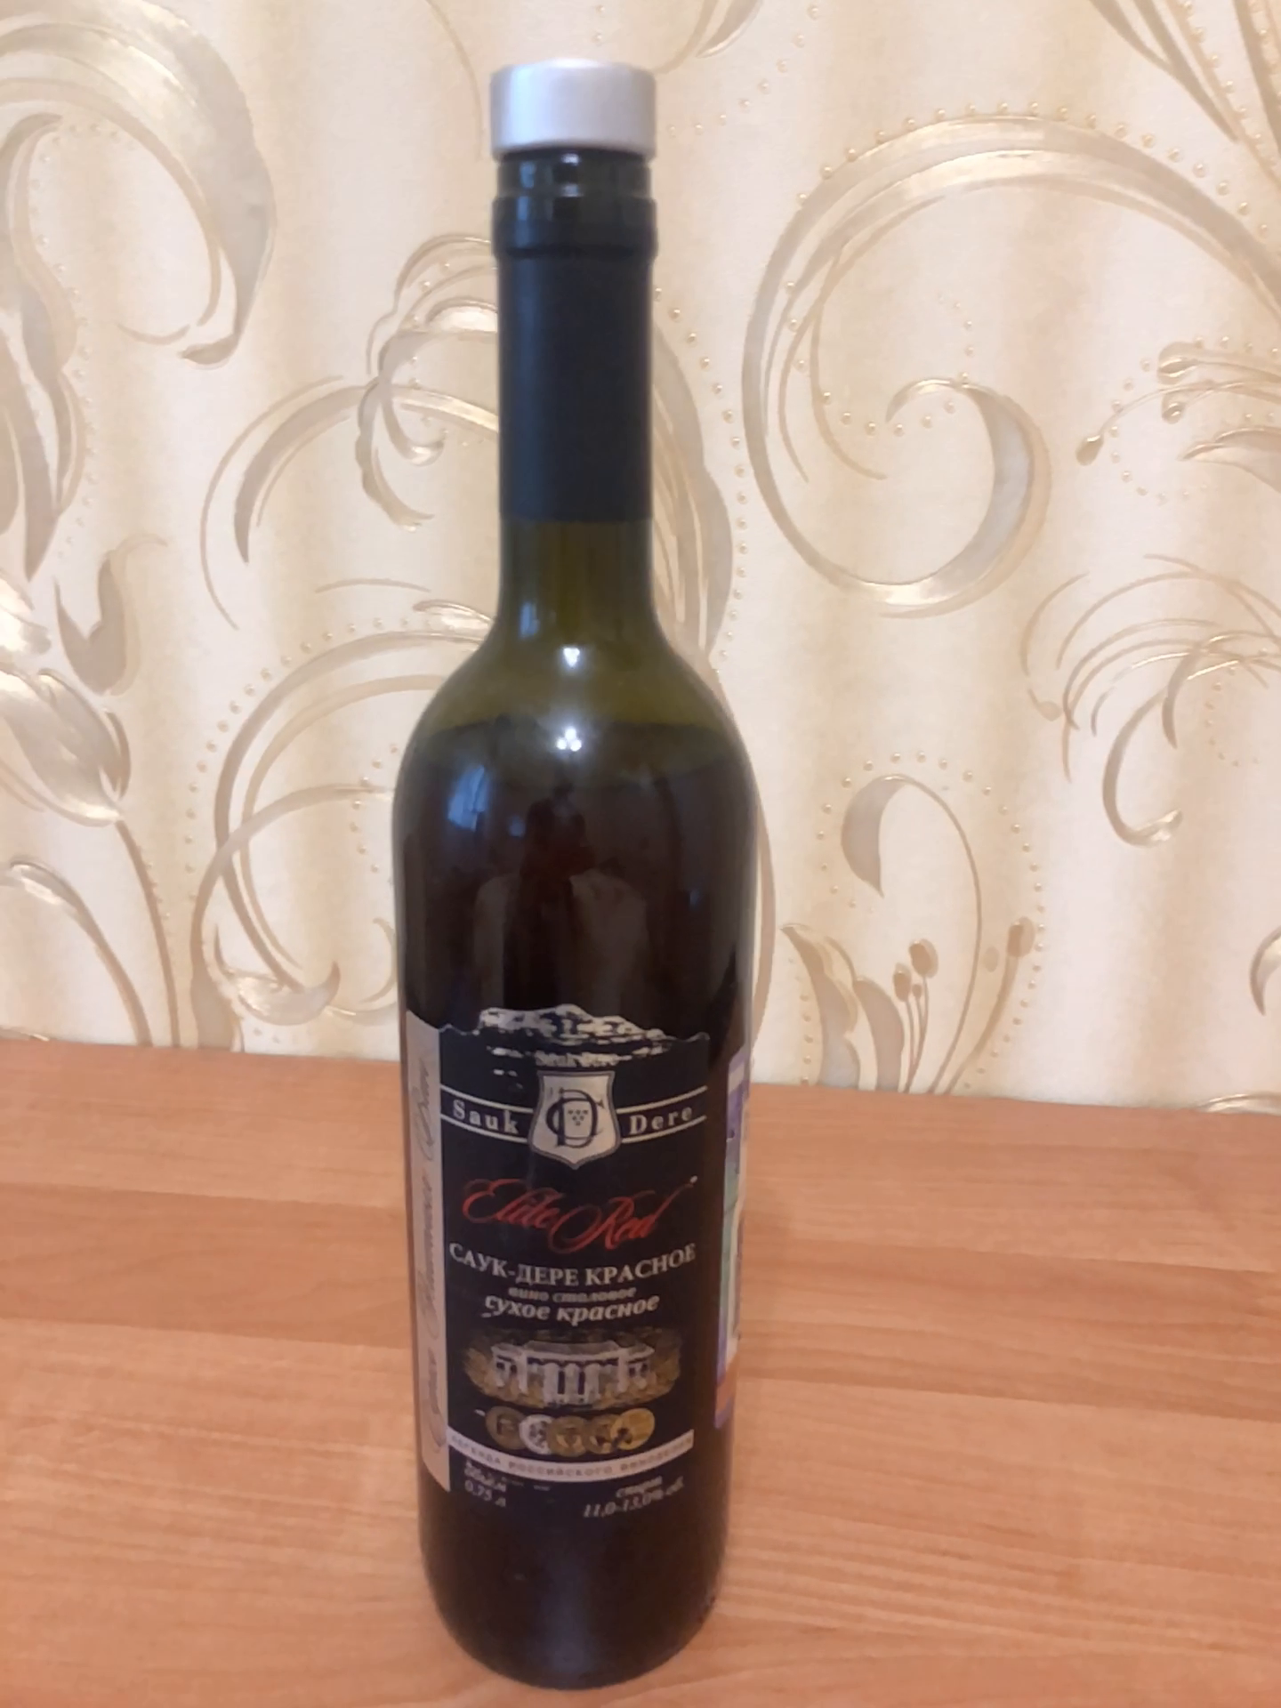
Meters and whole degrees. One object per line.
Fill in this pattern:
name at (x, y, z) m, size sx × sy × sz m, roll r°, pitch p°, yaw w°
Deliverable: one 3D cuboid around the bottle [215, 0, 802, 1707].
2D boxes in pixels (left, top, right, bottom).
bottle at (-0.017, 0.016, 0.288) m, size 0.083 × 0.322 × 0.074 m, roll 3°, pitch 18°, yaw 8°
